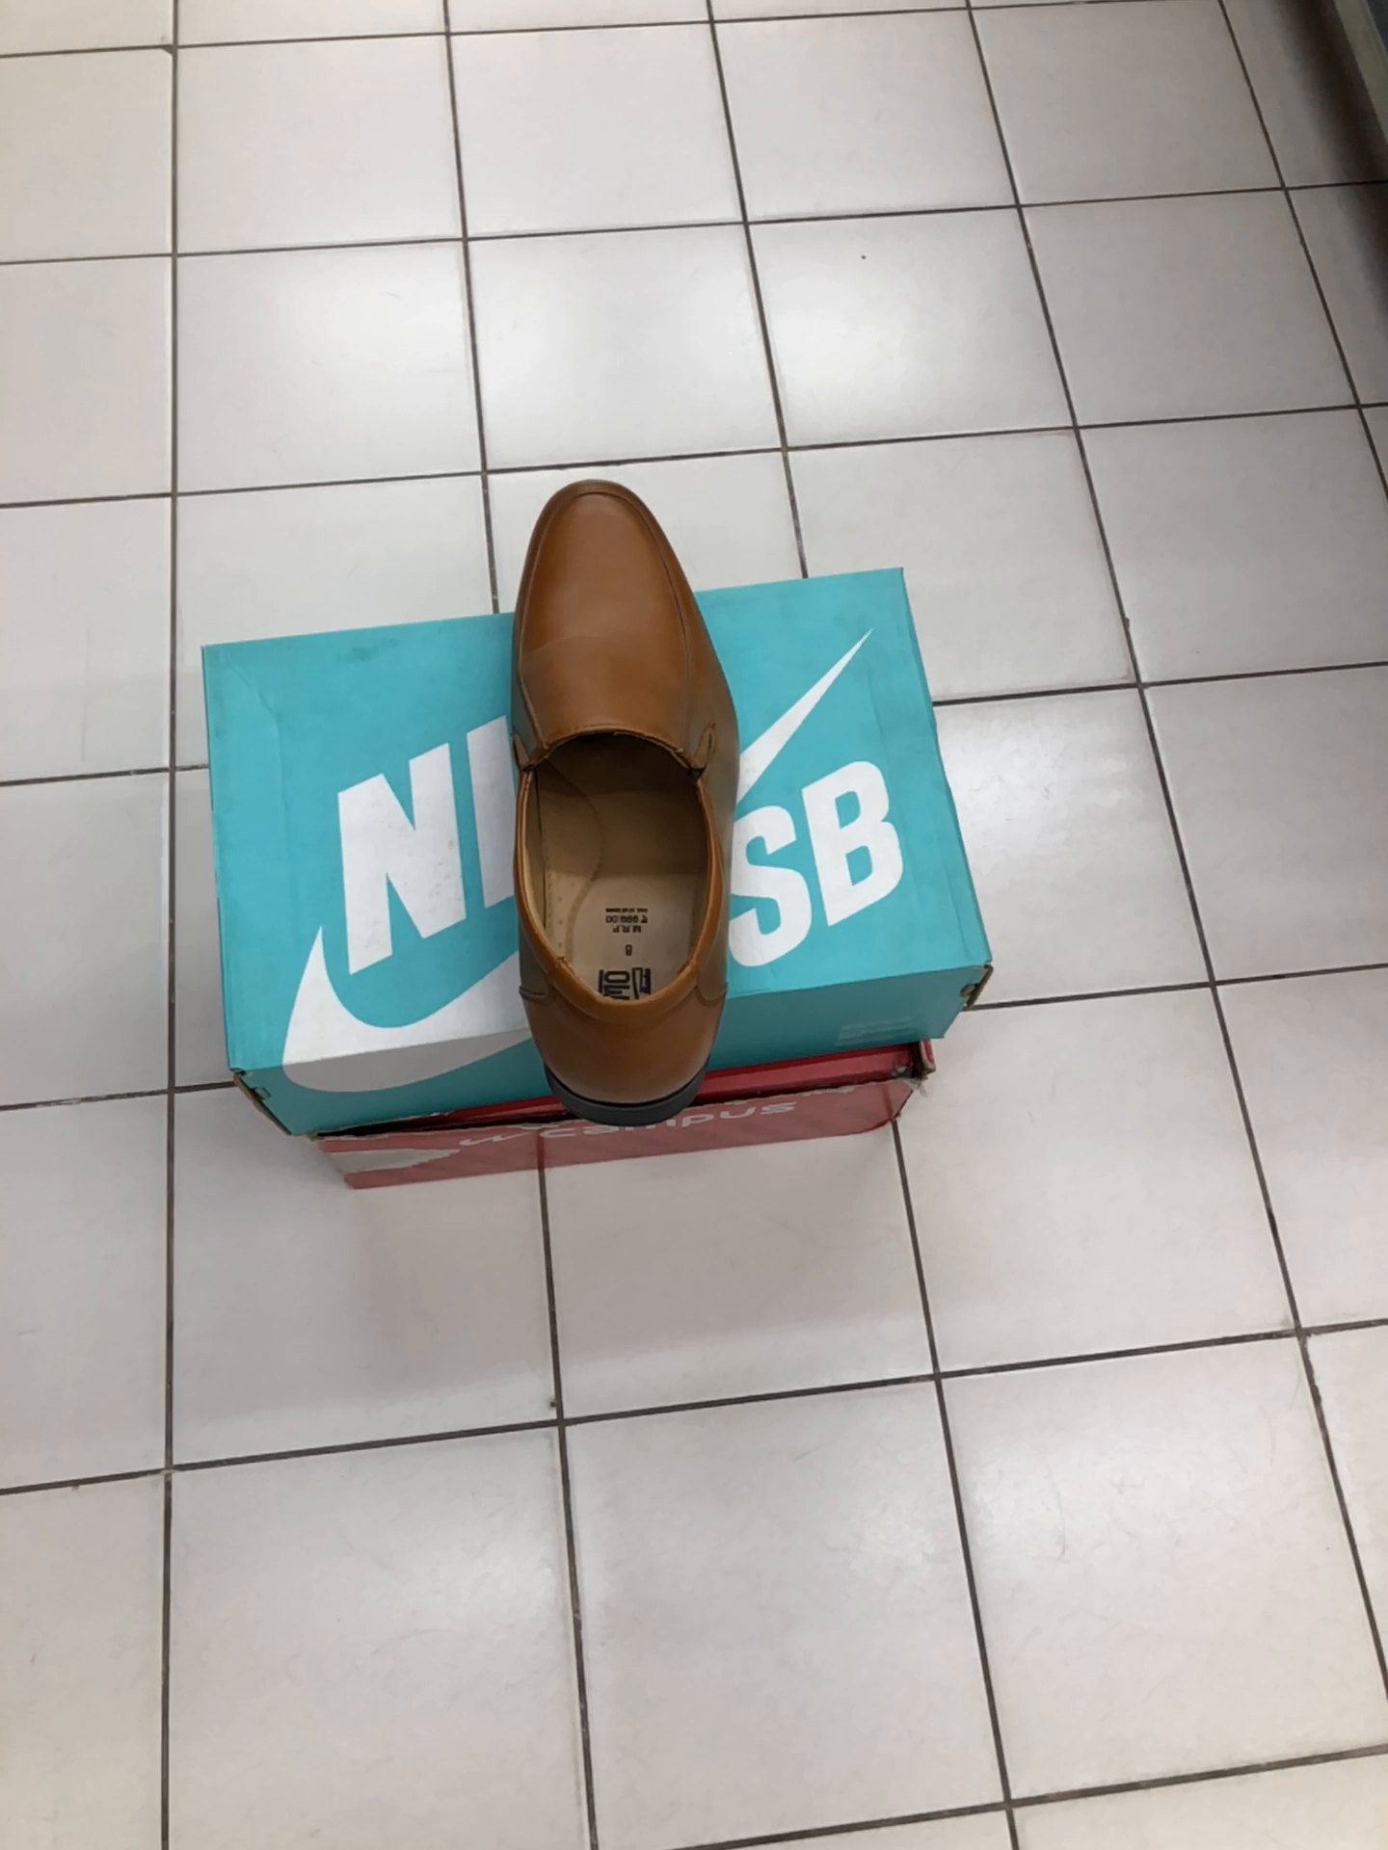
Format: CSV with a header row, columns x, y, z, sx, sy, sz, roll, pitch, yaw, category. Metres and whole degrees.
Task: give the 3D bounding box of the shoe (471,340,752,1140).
x,y,z,sx,sy,sz,roll,pitch,yaw,category
-0.038,-0.079,0.623,0.090,0.100,0.311,-3,69,-3,shoe
